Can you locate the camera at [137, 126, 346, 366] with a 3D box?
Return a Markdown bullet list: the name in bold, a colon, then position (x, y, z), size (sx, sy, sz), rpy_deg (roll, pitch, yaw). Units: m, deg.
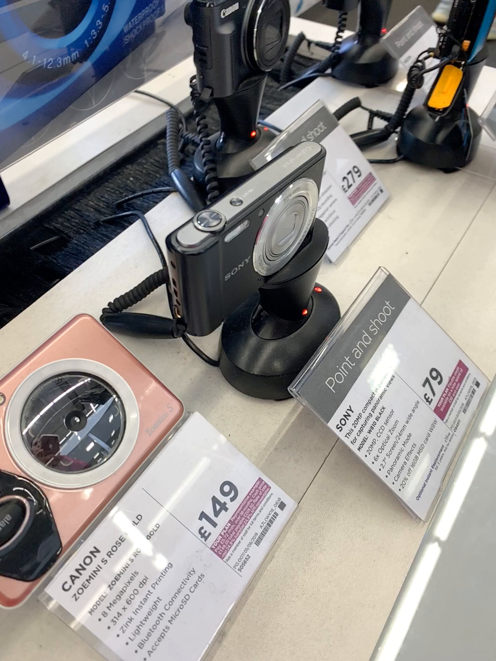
- **camera**: position (0.001, -0.041, 0.234), size (0.030, 0.059, 0.101), rpy_deg (31, 57, 23)
